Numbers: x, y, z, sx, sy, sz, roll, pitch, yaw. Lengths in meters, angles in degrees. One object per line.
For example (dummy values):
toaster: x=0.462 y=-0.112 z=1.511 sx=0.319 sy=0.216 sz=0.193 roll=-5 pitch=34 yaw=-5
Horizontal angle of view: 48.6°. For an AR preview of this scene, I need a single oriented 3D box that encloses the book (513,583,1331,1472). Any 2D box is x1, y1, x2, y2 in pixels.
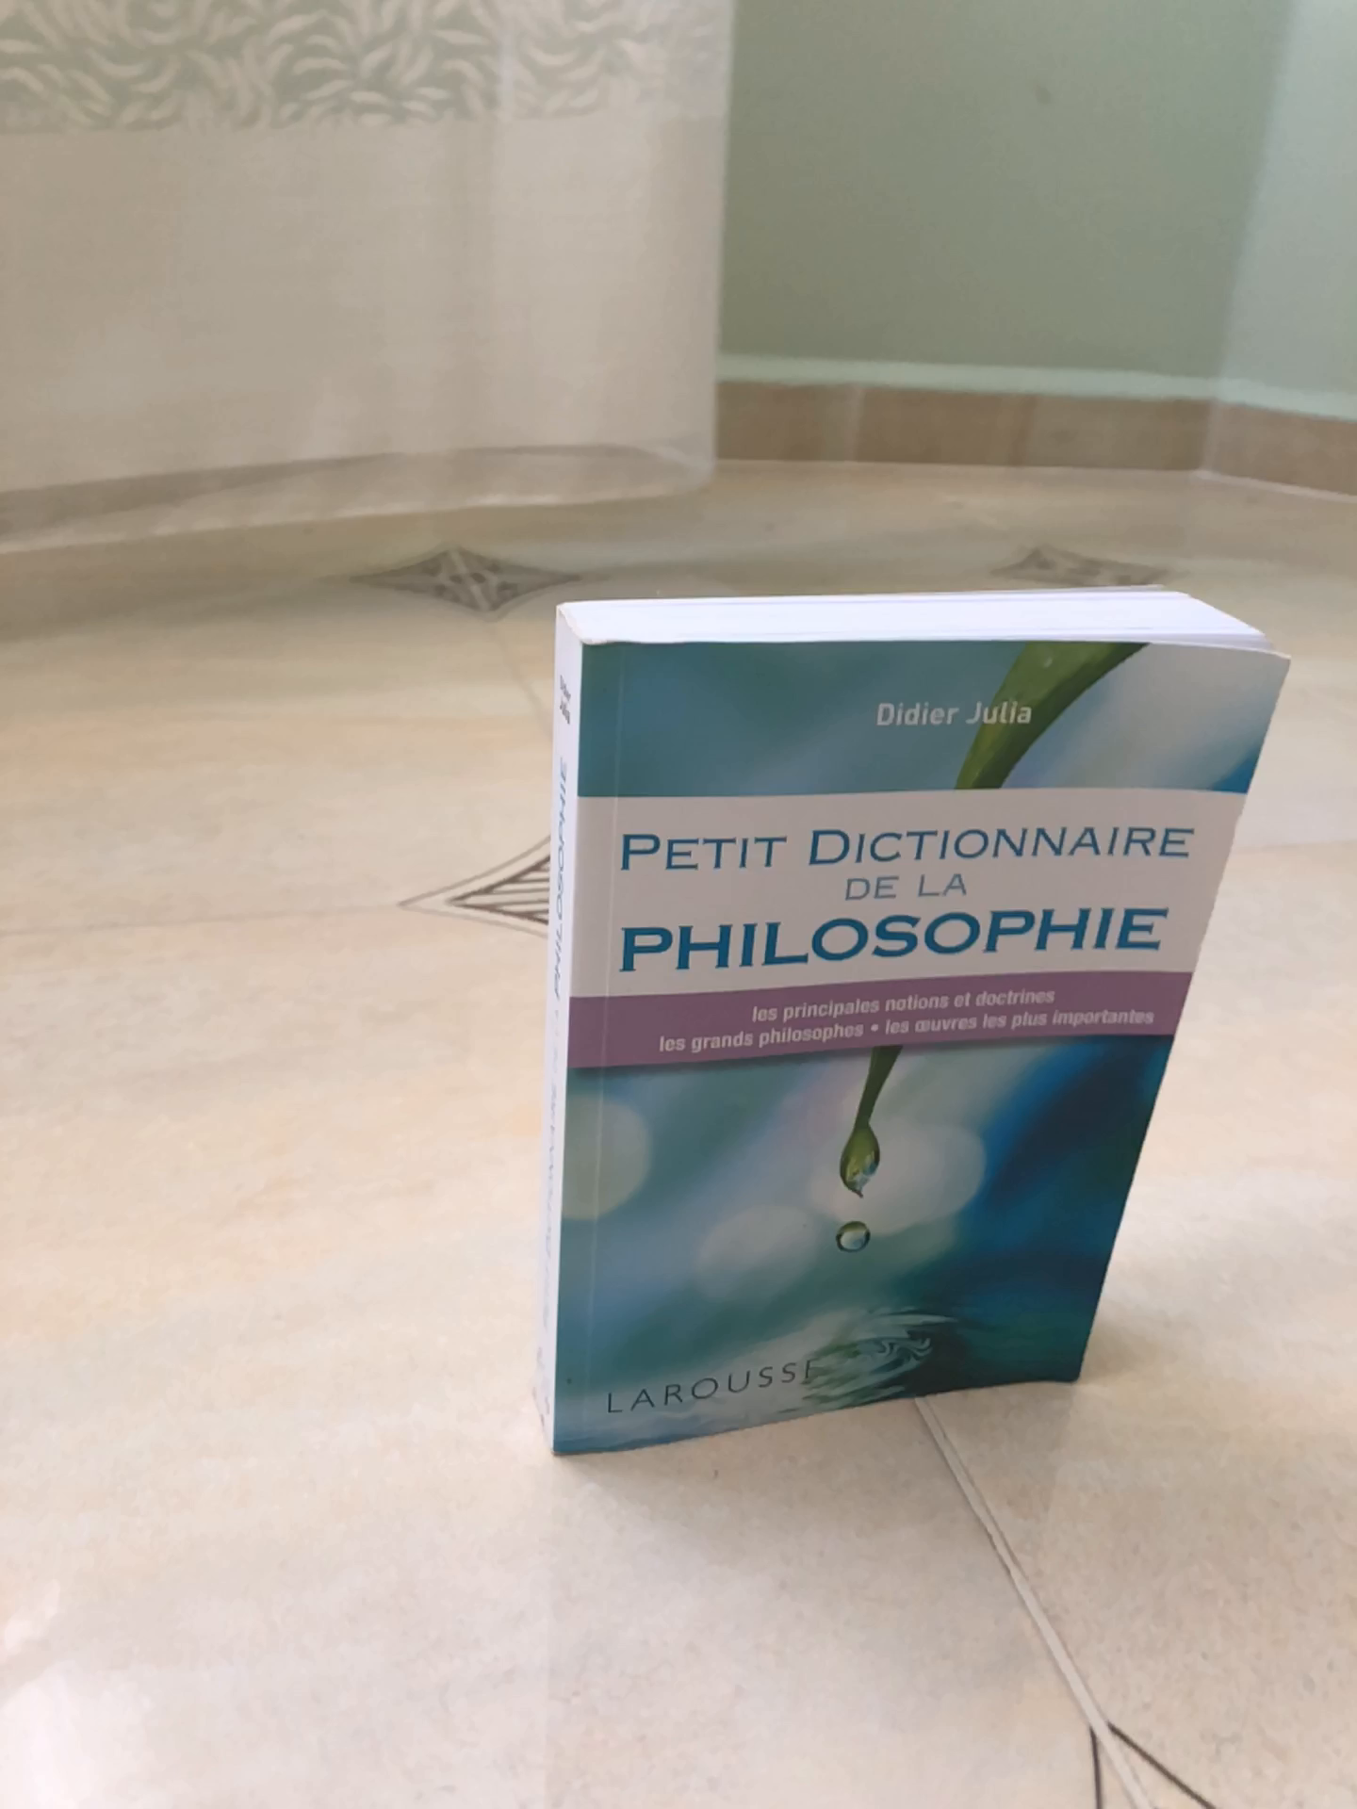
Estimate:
book: x=0.039 y=0.029 z=0.313 sx=0.140 sy=0.185 sz=0.035 roll=-3 pitch=30 yaw=-14
